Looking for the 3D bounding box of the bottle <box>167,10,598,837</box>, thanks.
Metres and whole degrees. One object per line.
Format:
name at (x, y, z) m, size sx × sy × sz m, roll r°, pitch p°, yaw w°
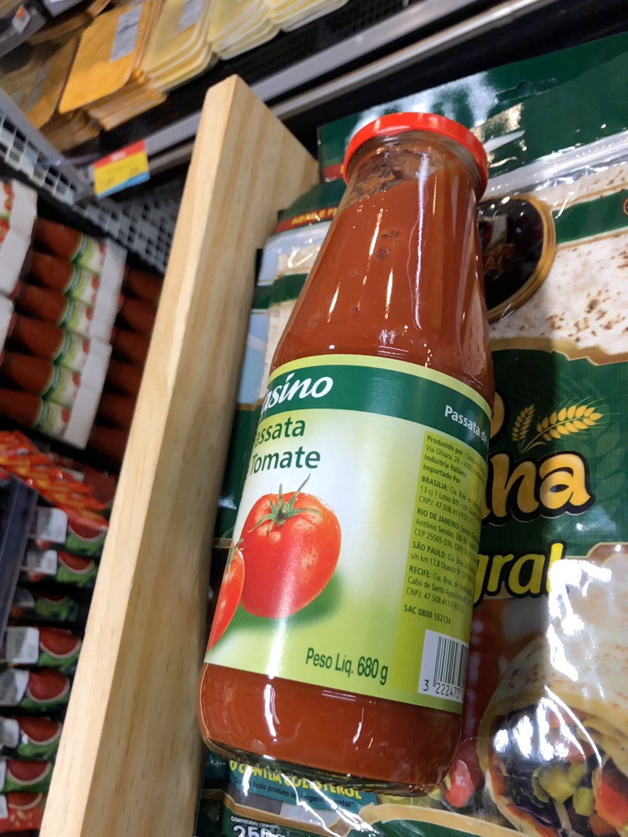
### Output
bottle at (0.029, -0.001, 0.229) m, size 0.070 × 0.080 × 0.230 m, roll -21°, pitch 54°, yaw 60°
